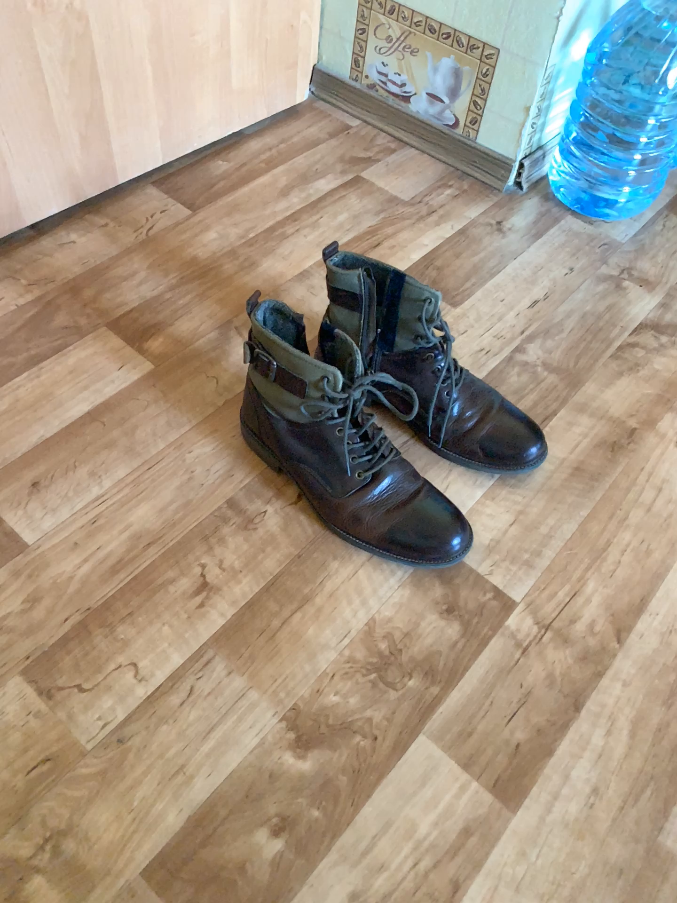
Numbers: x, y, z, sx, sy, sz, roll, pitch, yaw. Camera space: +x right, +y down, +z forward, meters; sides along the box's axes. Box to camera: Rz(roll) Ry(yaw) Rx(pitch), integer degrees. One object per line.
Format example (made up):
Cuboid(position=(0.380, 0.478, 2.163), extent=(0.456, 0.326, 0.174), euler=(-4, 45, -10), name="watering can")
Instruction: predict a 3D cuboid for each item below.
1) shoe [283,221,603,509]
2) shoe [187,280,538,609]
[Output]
Cuboid(position=(0.096, -0.098, 0.752), extent=(0.310, 0.150, 0.110), euler=(33, 57, 17), name="shoe")
Cuboid(position=(0.010, -0.010, 0.672), extent=(0.310, 0.150, 0.110), euler=(35, 58, 18), name="shoe")
